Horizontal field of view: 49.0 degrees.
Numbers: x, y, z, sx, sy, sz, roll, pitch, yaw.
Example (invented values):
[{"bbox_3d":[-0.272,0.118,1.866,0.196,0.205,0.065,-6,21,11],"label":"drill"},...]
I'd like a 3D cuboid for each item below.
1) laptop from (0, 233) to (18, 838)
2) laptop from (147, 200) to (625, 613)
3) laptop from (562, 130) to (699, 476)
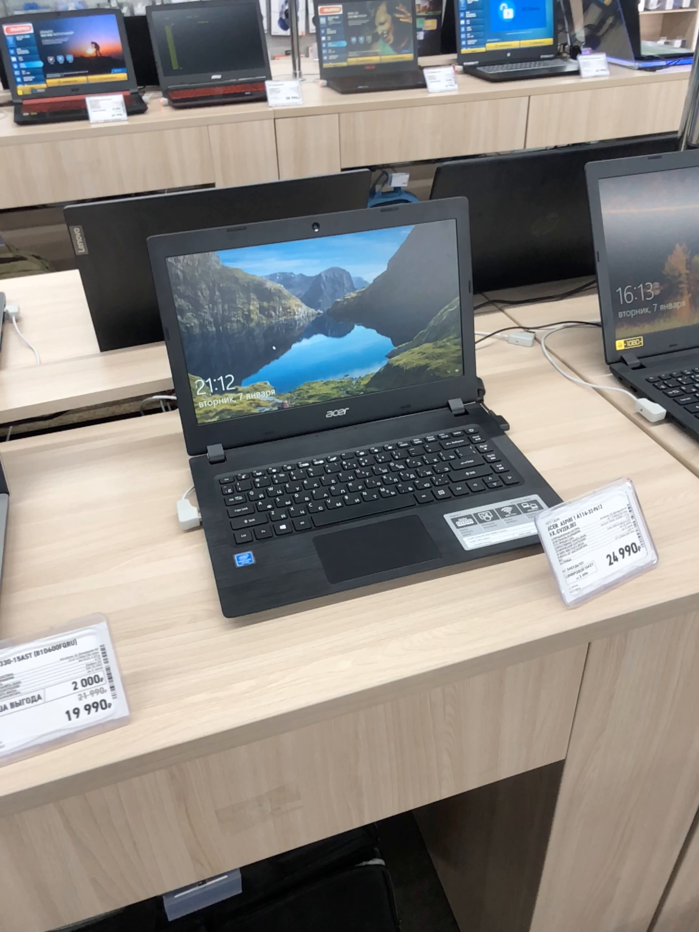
[{"bbox_3d":[-0.507,0.012,0.611,0.362,0.236,0.339,-11,36,-12],"label":"laptop"},{"bbox_3d":[0.012,-0.083,0.744,0.342,0.223,0.303,-11,36,-13],"label":"laptop"},{"bbox_3d":[0.531,-0.220,0.898,0.379,0.216,0.377,-12,37,-13],"label":"laptop"}]
